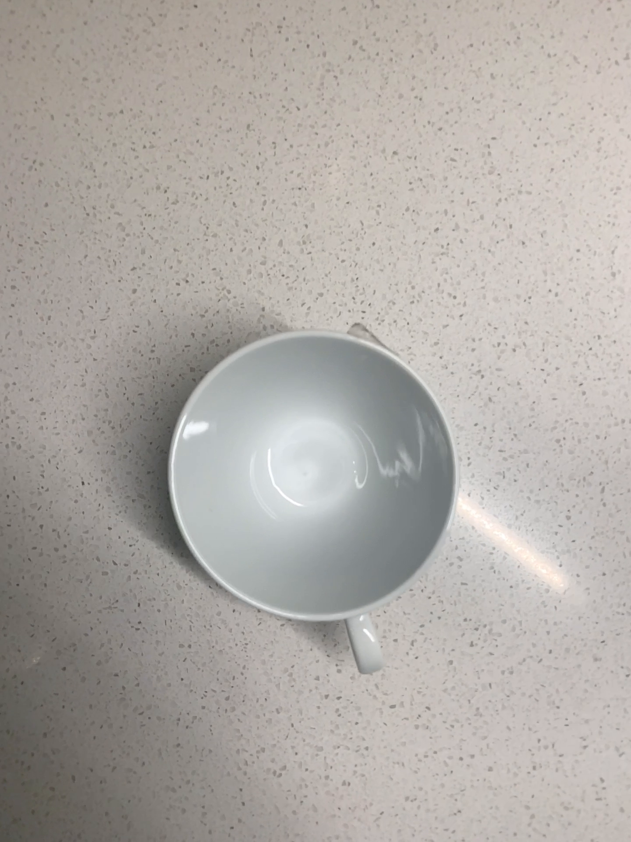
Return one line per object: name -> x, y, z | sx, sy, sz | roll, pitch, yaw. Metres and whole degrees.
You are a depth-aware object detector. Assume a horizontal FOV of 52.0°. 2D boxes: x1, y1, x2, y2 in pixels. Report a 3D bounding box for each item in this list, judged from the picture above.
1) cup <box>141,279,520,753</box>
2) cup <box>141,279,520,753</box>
cup -> 0.004, 0.029, 0.229 | 0.090, 0.050, 0.130 | -14, 88, -3
cup -> 0.004, 0.029, 0.229 | 0.090, 0.050, 0.130 | -14, 88, -3
